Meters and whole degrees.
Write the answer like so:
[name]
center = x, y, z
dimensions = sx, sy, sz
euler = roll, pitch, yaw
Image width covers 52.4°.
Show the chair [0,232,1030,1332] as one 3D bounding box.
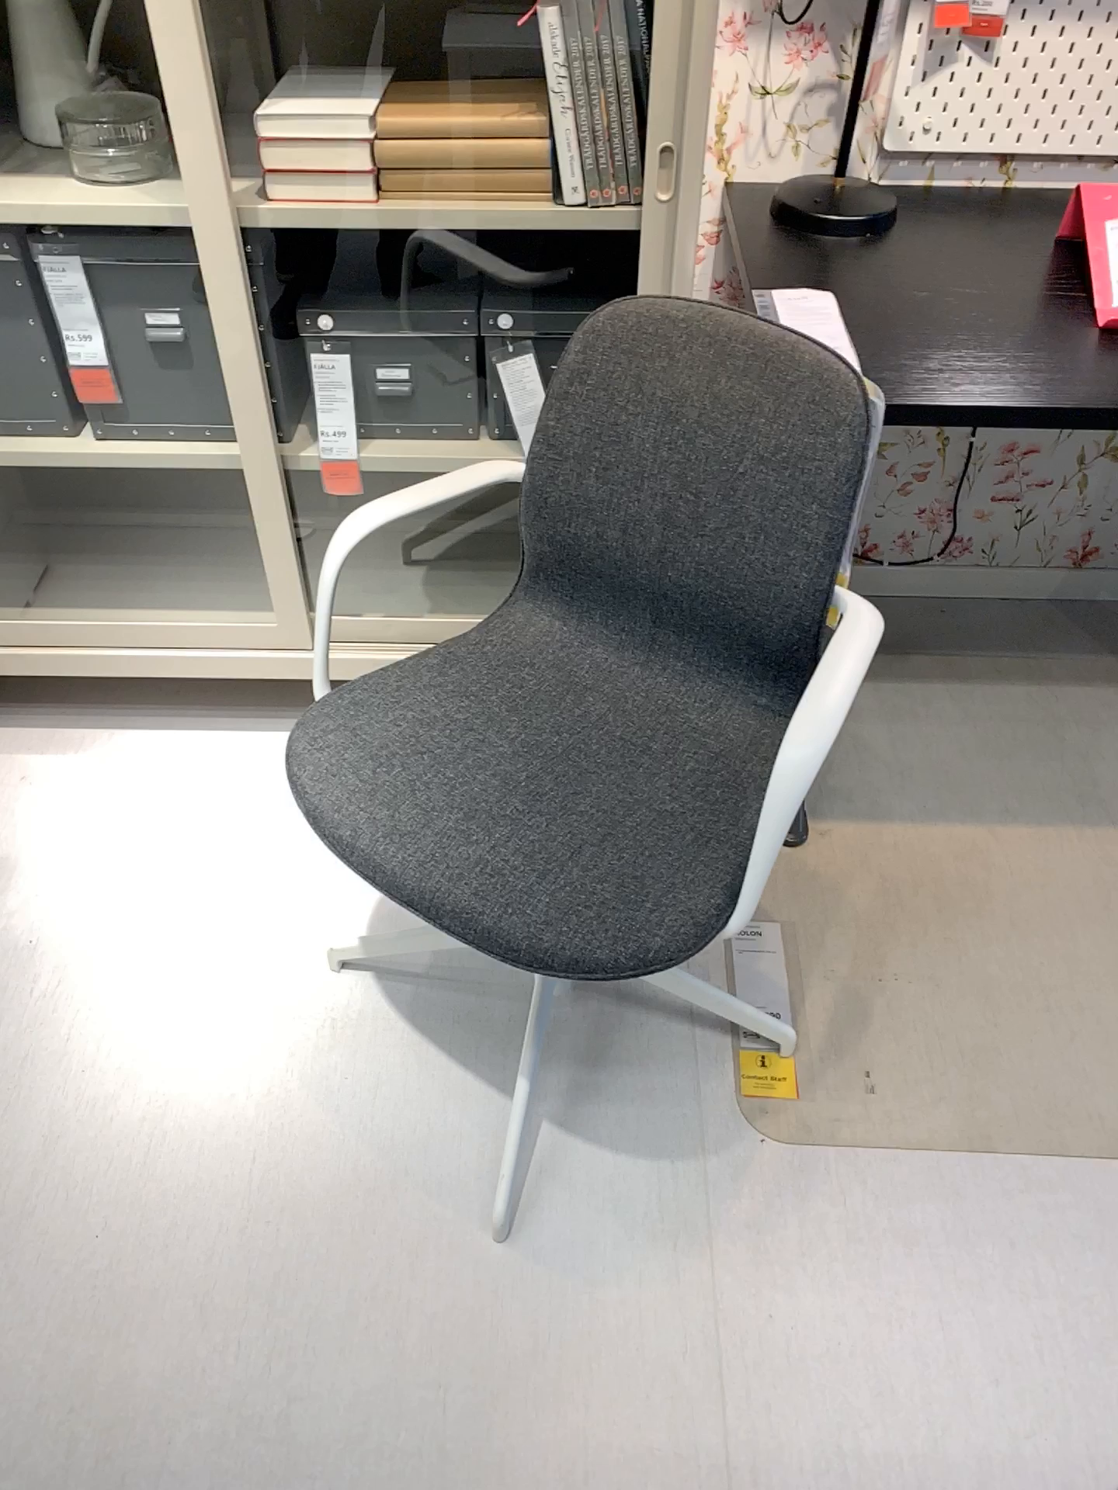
[chair]
center = -0.015, 0.030, 1.258
dimensions = 0.621, 0.837, 0.642
euler = 26, 50, 24
